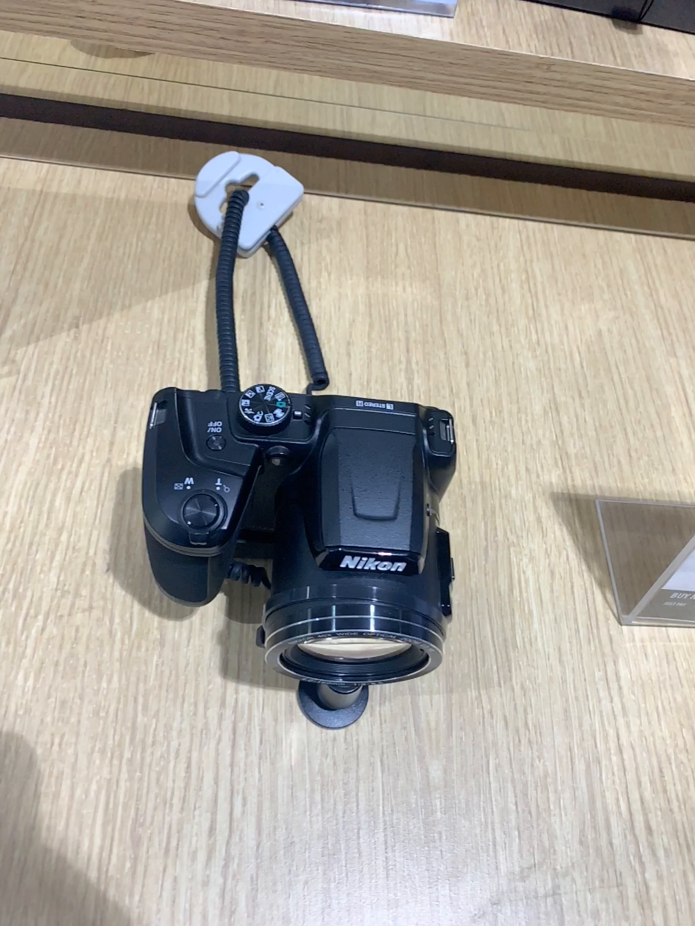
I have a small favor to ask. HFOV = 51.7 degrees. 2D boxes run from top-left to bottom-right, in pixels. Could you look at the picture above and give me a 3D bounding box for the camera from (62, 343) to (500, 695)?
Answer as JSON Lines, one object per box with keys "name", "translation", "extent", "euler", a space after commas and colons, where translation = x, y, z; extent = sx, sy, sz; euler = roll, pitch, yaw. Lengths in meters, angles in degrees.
{"name": "camera", "translation": [-0.022, 0.024, 0.253], "extent": [0.120, 0.080, 0.090], "euler": [5, 58, -7]}
